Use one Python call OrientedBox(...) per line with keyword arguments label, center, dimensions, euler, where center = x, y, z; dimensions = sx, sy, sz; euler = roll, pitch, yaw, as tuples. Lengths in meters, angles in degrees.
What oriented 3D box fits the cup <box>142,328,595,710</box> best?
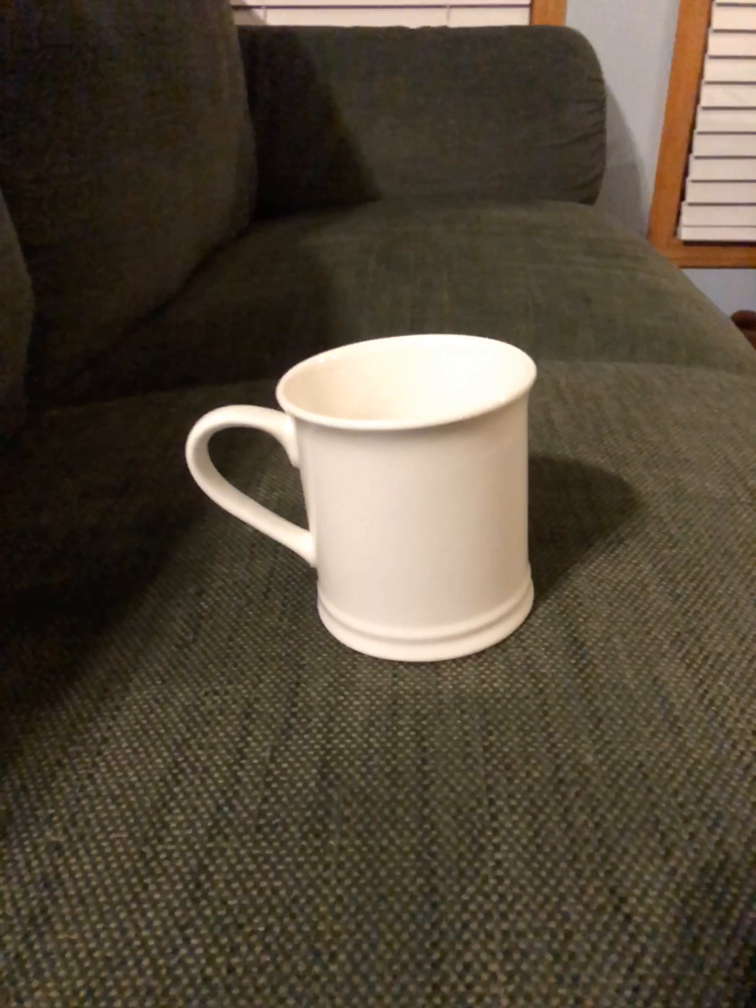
OrientedBox(label="cup", center=(-0.003, 0.000, 0.325), dimensions=(0.140, 0.099, 0.101), euler=(-5, 28, -3))
